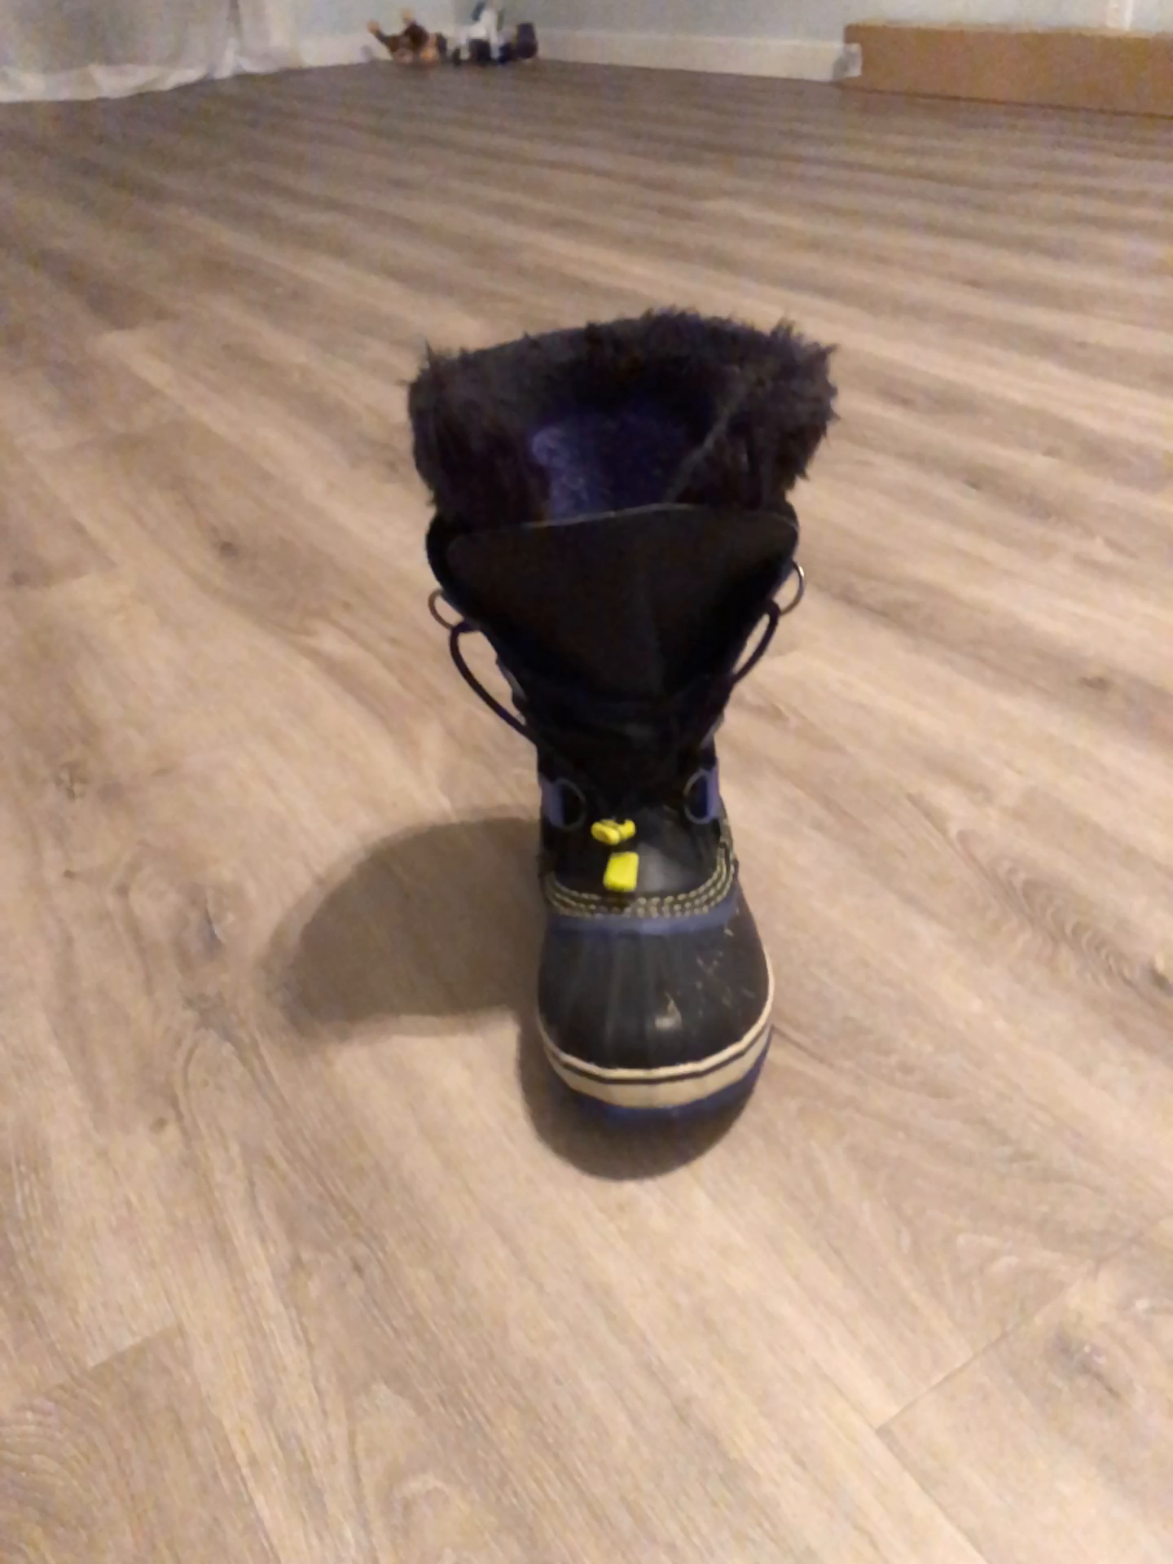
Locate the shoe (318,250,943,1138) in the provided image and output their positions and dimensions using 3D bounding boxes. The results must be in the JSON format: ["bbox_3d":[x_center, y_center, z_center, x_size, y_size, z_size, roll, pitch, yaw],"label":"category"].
[{"bbox_3d":[0.021,-0.044,0.528,0.170,0.269,0.241,-2,33,3],"label":"shoe"}]
